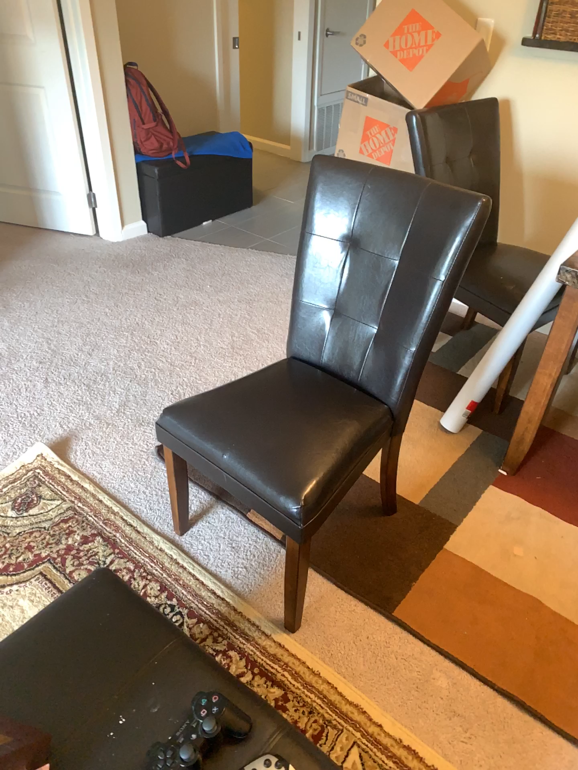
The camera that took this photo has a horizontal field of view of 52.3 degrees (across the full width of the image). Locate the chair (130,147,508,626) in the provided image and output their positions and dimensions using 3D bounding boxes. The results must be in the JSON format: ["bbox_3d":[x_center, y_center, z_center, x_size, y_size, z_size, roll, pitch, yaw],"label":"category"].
[{"bbox_3d":[0.073,-0.021,1.497,0.492,0.915,0.651,28,43,32],"label":"chair"}]
